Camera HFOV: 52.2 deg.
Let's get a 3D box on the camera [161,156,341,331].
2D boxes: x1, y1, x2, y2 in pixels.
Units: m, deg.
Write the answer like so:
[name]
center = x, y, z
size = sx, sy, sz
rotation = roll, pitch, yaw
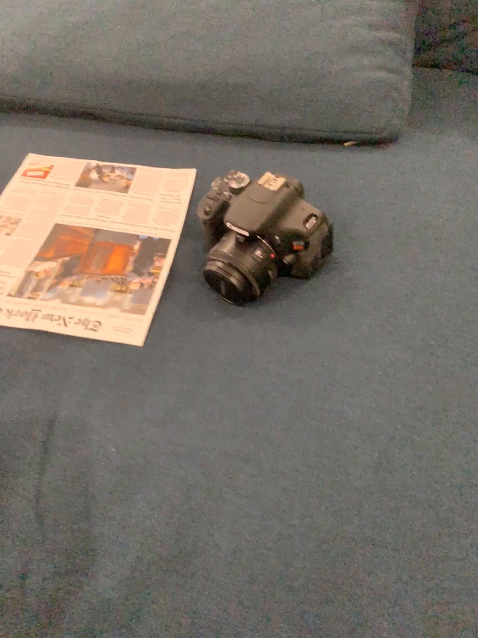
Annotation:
[camera]
center = 0.014, -0.083, 0.507
size = 0.128, 0.090, 0.122
rotation = 29, 56, 26
